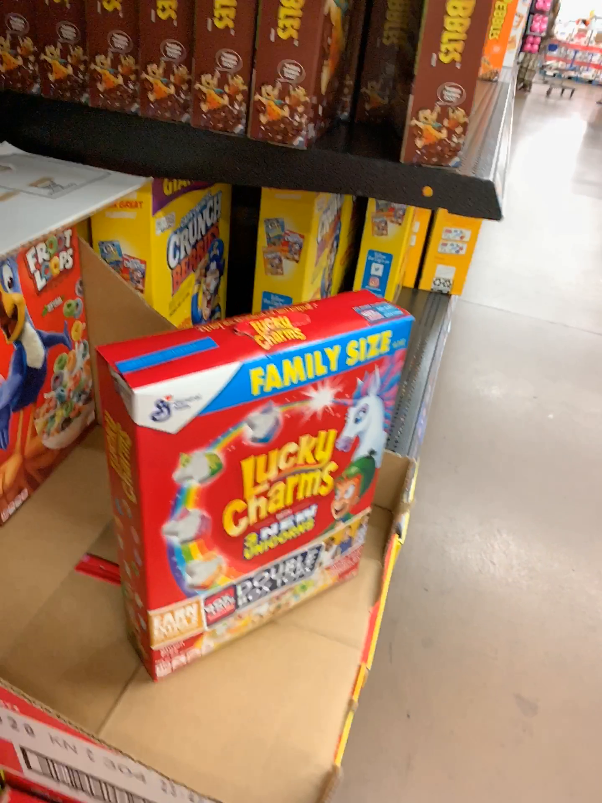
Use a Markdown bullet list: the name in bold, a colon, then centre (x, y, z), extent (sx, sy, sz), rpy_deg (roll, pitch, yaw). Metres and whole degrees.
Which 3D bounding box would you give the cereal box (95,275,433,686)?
- **cereal box**: centre (-0.027, 0.064, 0.494), extent (0.231, 0.288, 0.060), rpy_deg (-19, 42, -32)
